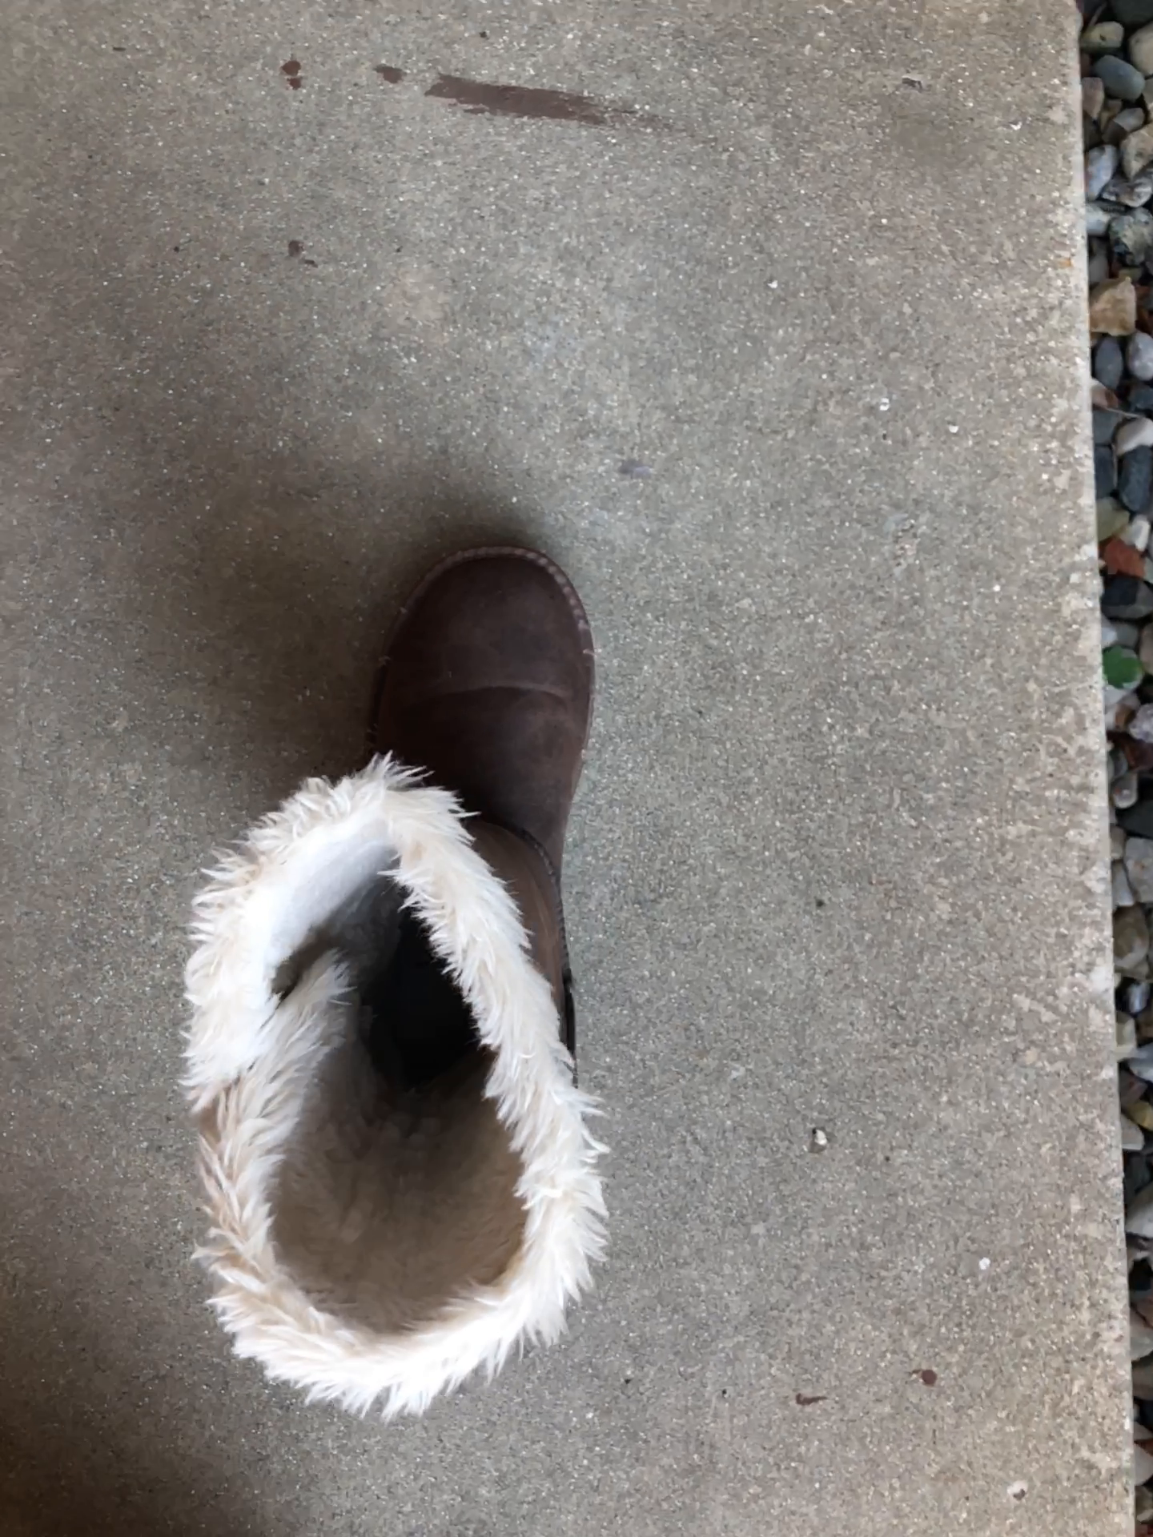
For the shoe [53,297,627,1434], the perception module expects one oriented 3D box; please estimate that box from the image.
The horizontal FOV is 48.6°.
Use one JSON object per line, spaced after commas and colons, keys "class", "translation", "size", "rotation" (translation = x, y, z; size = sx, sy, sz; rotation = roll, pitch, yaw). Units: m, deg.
{"class": "shoe", "translation": [-0.059, 0.027, 0.486], "size": [0.120, 0.320, 0.280], "rotation": [5, 89, 1]}
